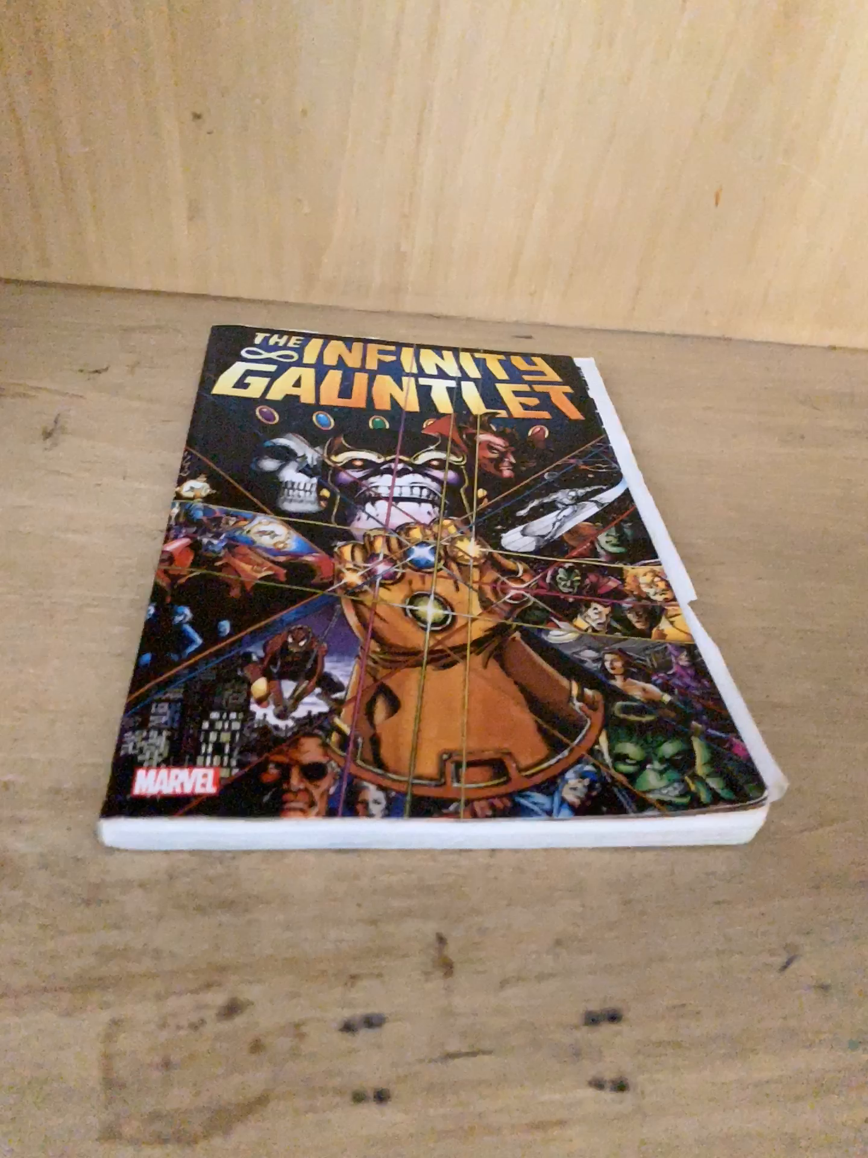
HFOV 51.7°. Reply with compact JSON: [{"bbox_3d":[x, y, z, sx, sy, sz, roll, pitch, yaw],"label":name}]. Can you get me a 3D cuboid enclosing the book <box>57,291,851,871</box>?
[{"bbox_3d":[-0.002,-0.026,0.323,0.190,0.030,0.272,2,41,-8],"label":"book"}]
